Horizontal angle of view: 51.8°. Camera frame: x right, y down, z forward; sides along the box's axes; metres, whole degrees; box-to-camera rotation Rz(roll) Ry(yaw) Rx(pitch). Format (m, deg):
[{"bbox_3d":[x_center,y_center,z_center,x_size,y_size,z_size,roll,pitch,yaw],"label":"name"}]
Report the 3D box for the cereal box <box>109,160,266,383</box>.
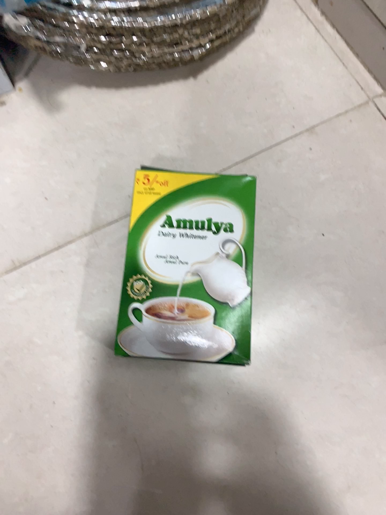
[{"bbox_3d":[0.000,0.011,0.285,0.090,0.060,0.140,4,75,1],"label":"cereal box"}]
